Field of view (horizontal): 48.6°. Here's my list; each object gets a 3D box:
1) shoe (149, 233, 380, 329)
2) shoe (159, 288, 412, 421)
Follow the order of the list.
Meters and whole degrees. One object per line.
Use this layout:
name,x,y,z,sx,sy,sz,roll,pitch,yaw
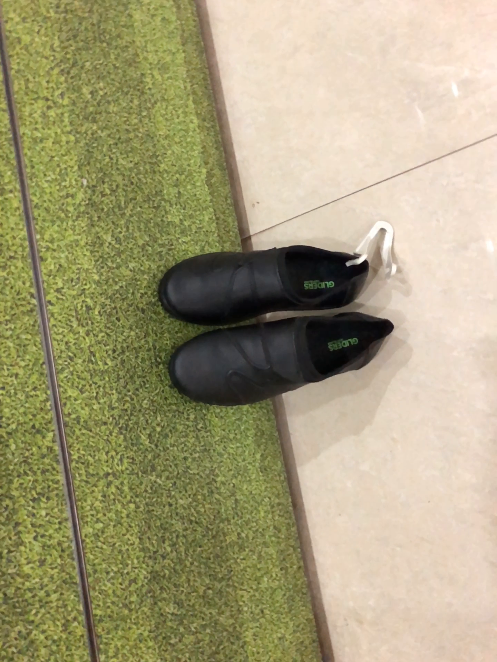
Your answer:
shoe,0.017,-0.053,0.586,0.067,0.228,0.074,164,100,-73
shoe,0.034,0.028,0.611,0.107,0.248,0.087,143,114,-77
